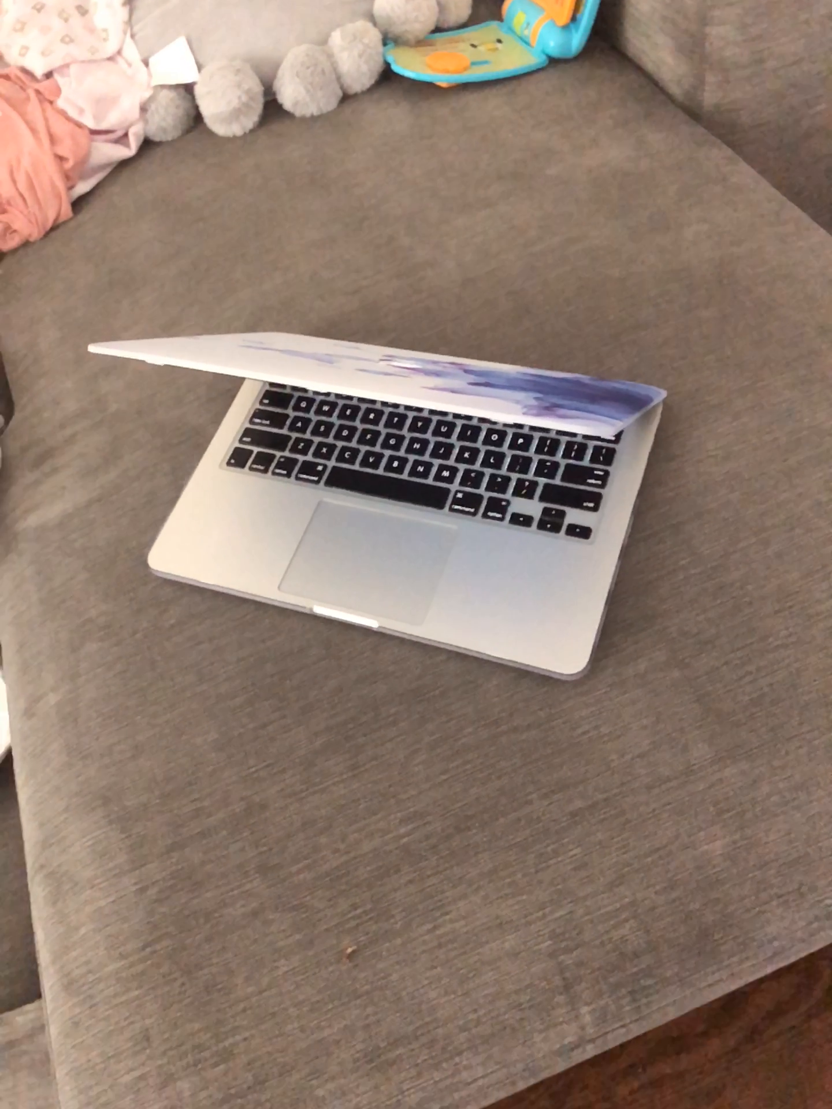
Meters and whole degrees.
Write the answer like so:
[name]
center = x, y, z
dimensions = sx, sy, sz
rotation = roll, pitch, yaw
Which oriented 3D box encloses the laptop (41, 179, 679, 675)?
[laptop]
center = -0.020, -0.090, 0.574
dimensions = 0.309, 0.137, 0.217
rotation = 13, 62, 19
